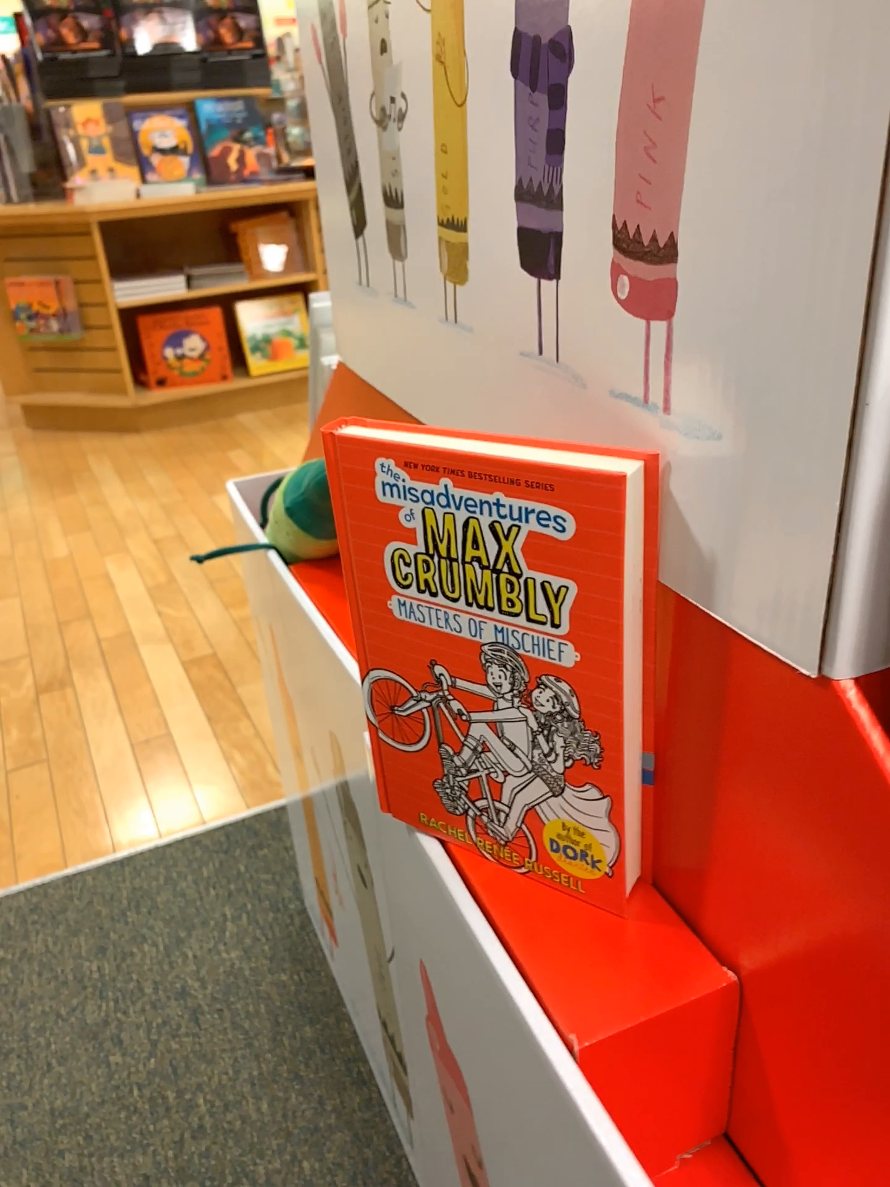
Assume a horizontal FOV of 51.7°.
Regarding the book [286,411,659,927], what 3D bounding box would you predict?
[{"bbox_3d":[0.014,0.032,0.387,0.142,0.201,0.031,13,34,30],"label":"book"}]
